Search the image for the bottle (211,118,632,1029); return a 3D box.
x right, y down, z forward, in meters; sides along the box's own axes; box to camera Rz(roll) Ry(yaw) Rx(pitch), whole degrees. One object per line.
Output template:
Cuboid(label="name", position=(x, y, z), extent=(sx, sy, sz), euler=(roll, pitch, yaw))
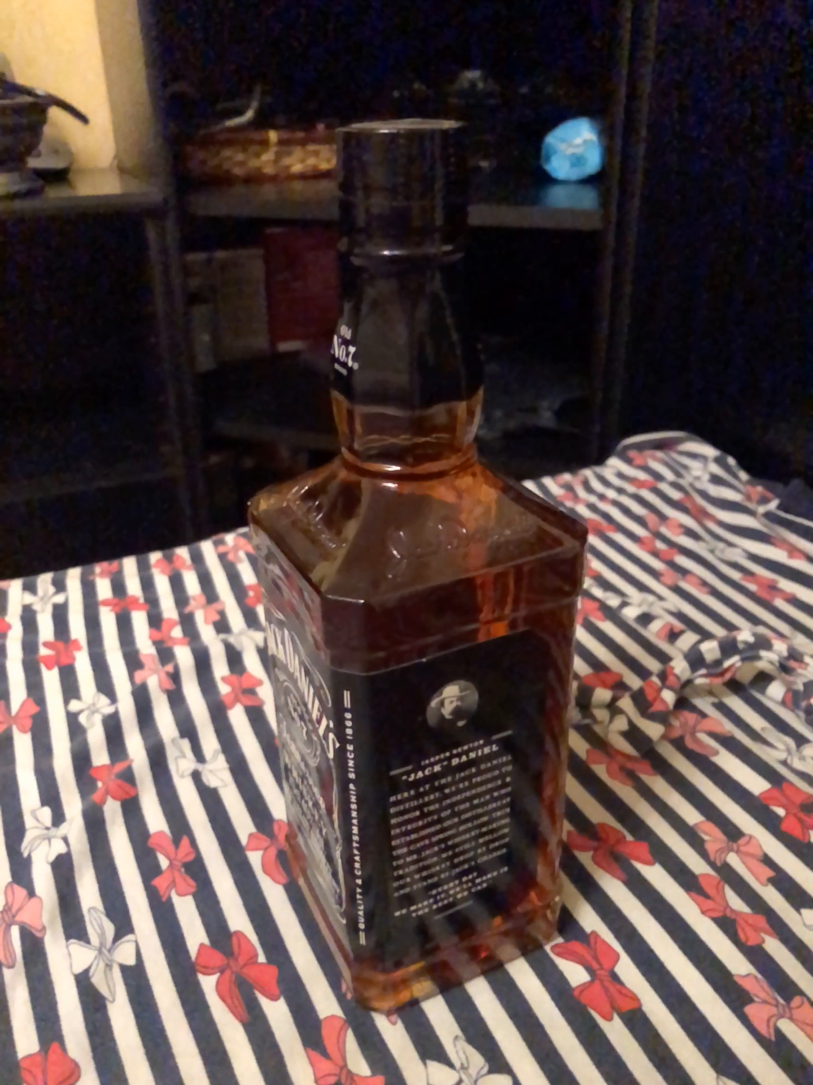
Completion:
Cuboid(label="bottle", position=(0.002, 0.013, 0.264), extent=(0.073, 0.246, 0.075), euler=(-1, 26, 1))
